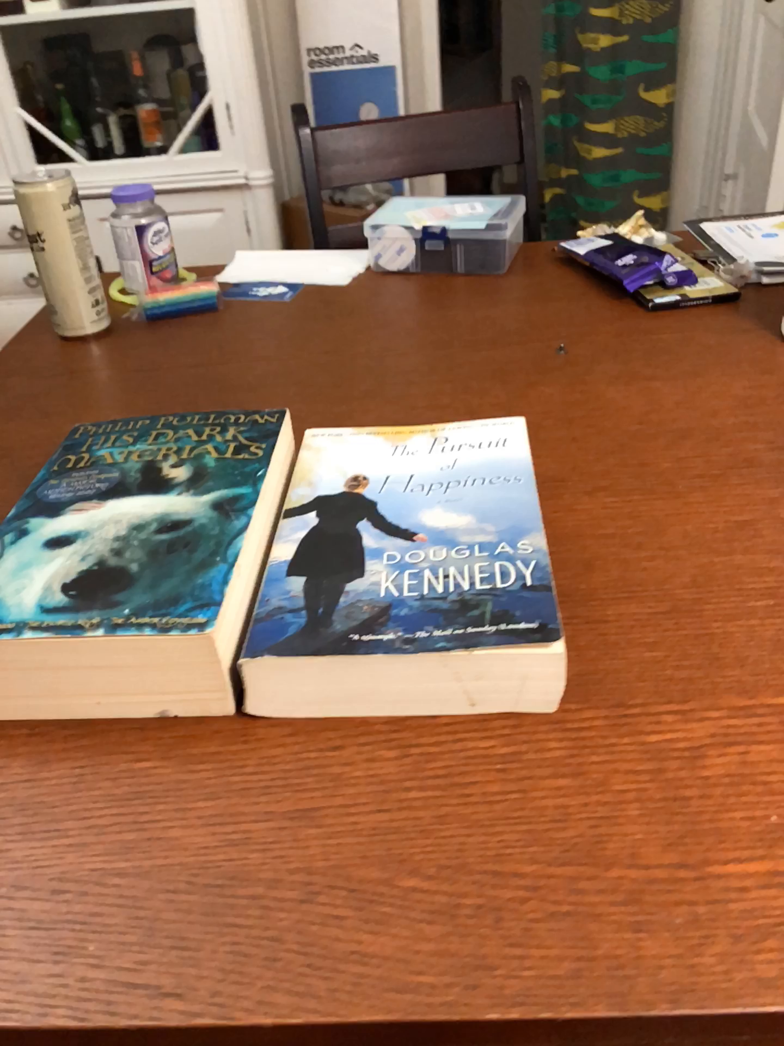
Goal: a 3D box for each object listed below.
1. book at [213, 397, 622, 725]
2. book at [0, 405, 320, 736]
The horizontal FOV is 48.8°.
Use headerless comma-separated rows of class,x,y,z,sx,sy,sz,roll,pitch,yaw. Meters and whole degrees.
book,0.017,0.006,0.494,0.180,0.040,0.252,-2,34,5
book,-0.150,0.013,0.517,0.180,0.050,0.252,-2,34,5
